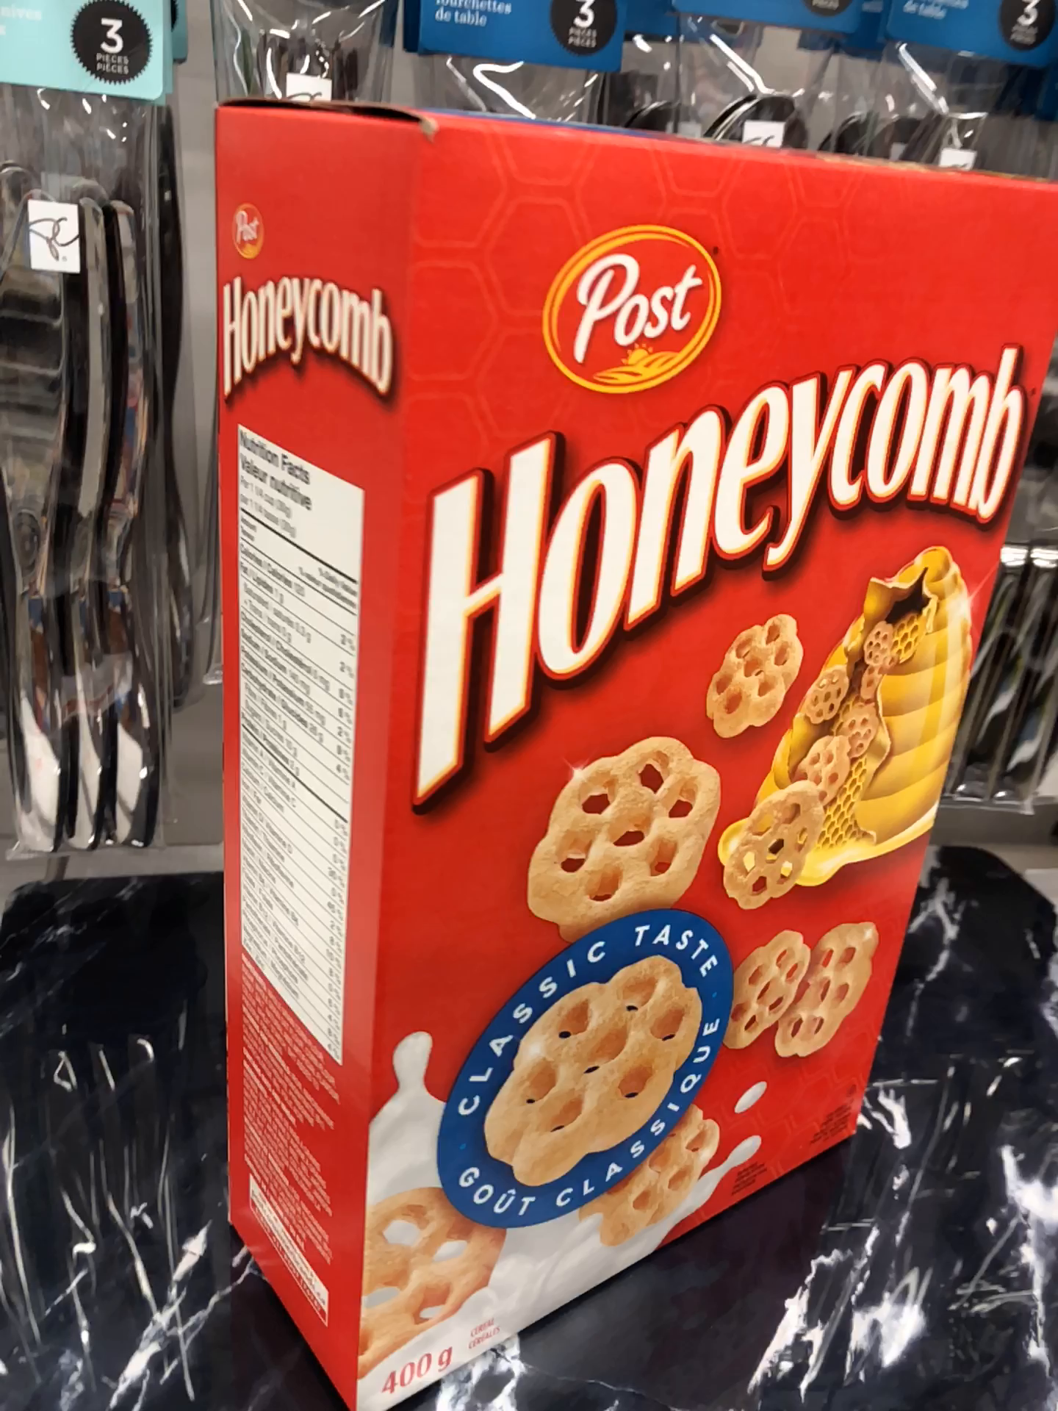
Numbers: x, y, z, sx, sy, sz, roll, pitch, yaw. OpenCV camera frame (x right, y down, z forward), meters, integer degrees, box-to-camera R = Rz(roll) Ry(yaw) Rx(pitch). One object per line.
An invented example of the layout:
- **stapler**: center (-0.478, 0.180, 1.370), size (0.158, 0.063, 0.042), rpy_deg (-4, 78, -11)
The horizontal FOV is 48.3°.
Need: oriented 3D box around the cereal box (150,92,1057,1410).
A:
- **cereal box**: center (0.023, 0.014, 0.317), size (0.210, 0.299, 0.070), rpy_deg (-13, 30, -34)
